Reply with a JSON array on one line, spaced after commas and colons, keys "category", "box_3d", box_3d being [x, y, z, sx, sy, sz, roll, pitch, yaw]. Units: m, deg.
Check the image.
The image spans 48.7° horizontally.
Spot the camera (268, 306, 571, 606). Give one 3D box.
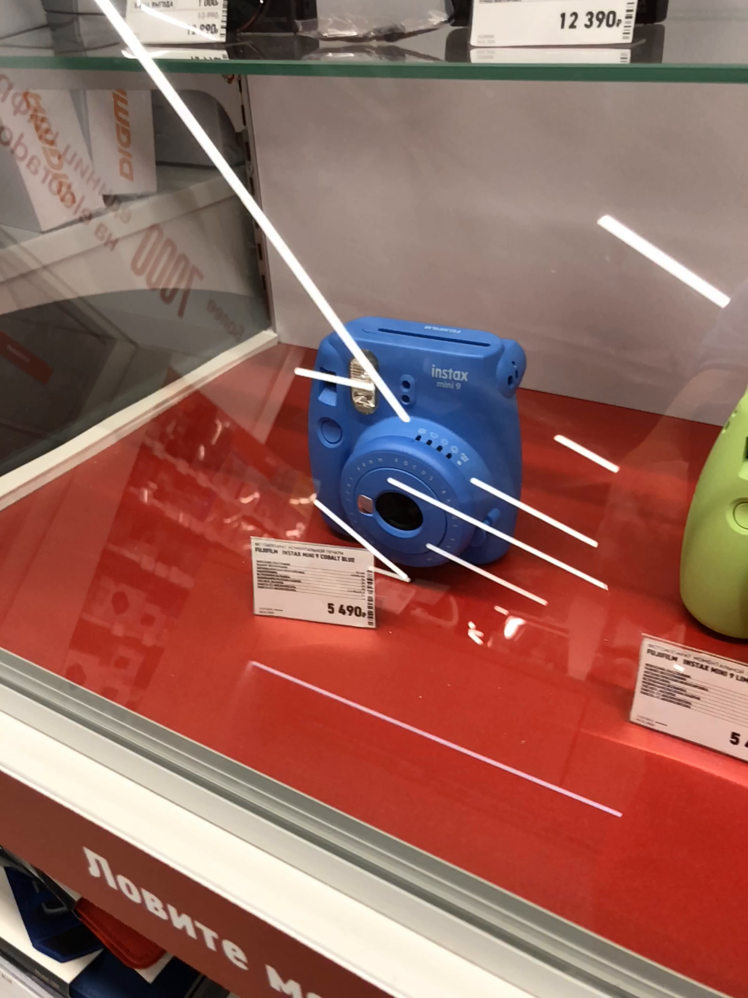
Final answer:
[{"category": "camera", "box_3d": [0.024, -0.025, 0.410, 0.122, 0.109, 0.070, 12, 35, 22]}]
